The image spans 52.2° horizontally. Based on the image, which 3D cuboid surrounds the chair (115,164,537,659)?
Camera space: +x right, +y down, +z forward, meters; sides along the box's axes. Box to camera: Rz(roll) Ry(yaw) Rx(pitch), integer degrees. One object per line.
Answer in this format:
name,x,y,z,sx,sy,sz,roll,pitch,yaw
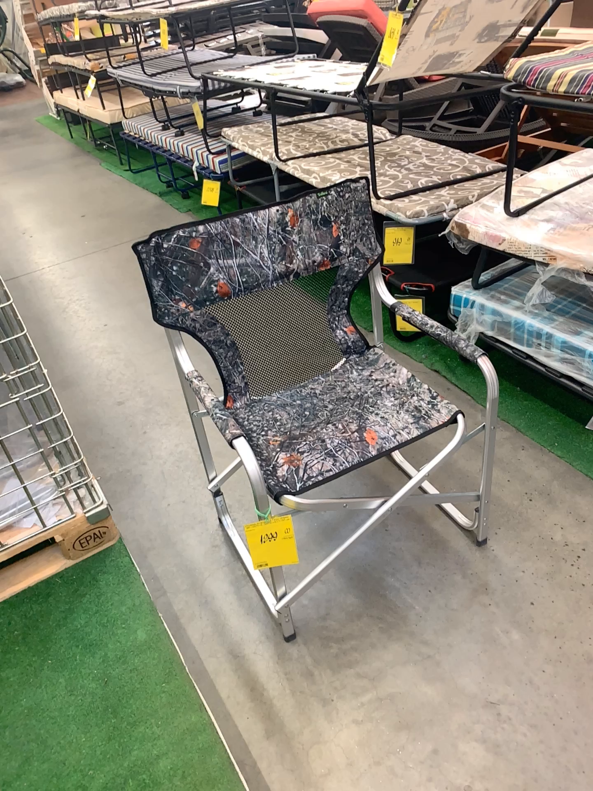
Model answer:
chair,0.063,0.005,1.468,0.650,0.836,0.613,-21,37,-16
